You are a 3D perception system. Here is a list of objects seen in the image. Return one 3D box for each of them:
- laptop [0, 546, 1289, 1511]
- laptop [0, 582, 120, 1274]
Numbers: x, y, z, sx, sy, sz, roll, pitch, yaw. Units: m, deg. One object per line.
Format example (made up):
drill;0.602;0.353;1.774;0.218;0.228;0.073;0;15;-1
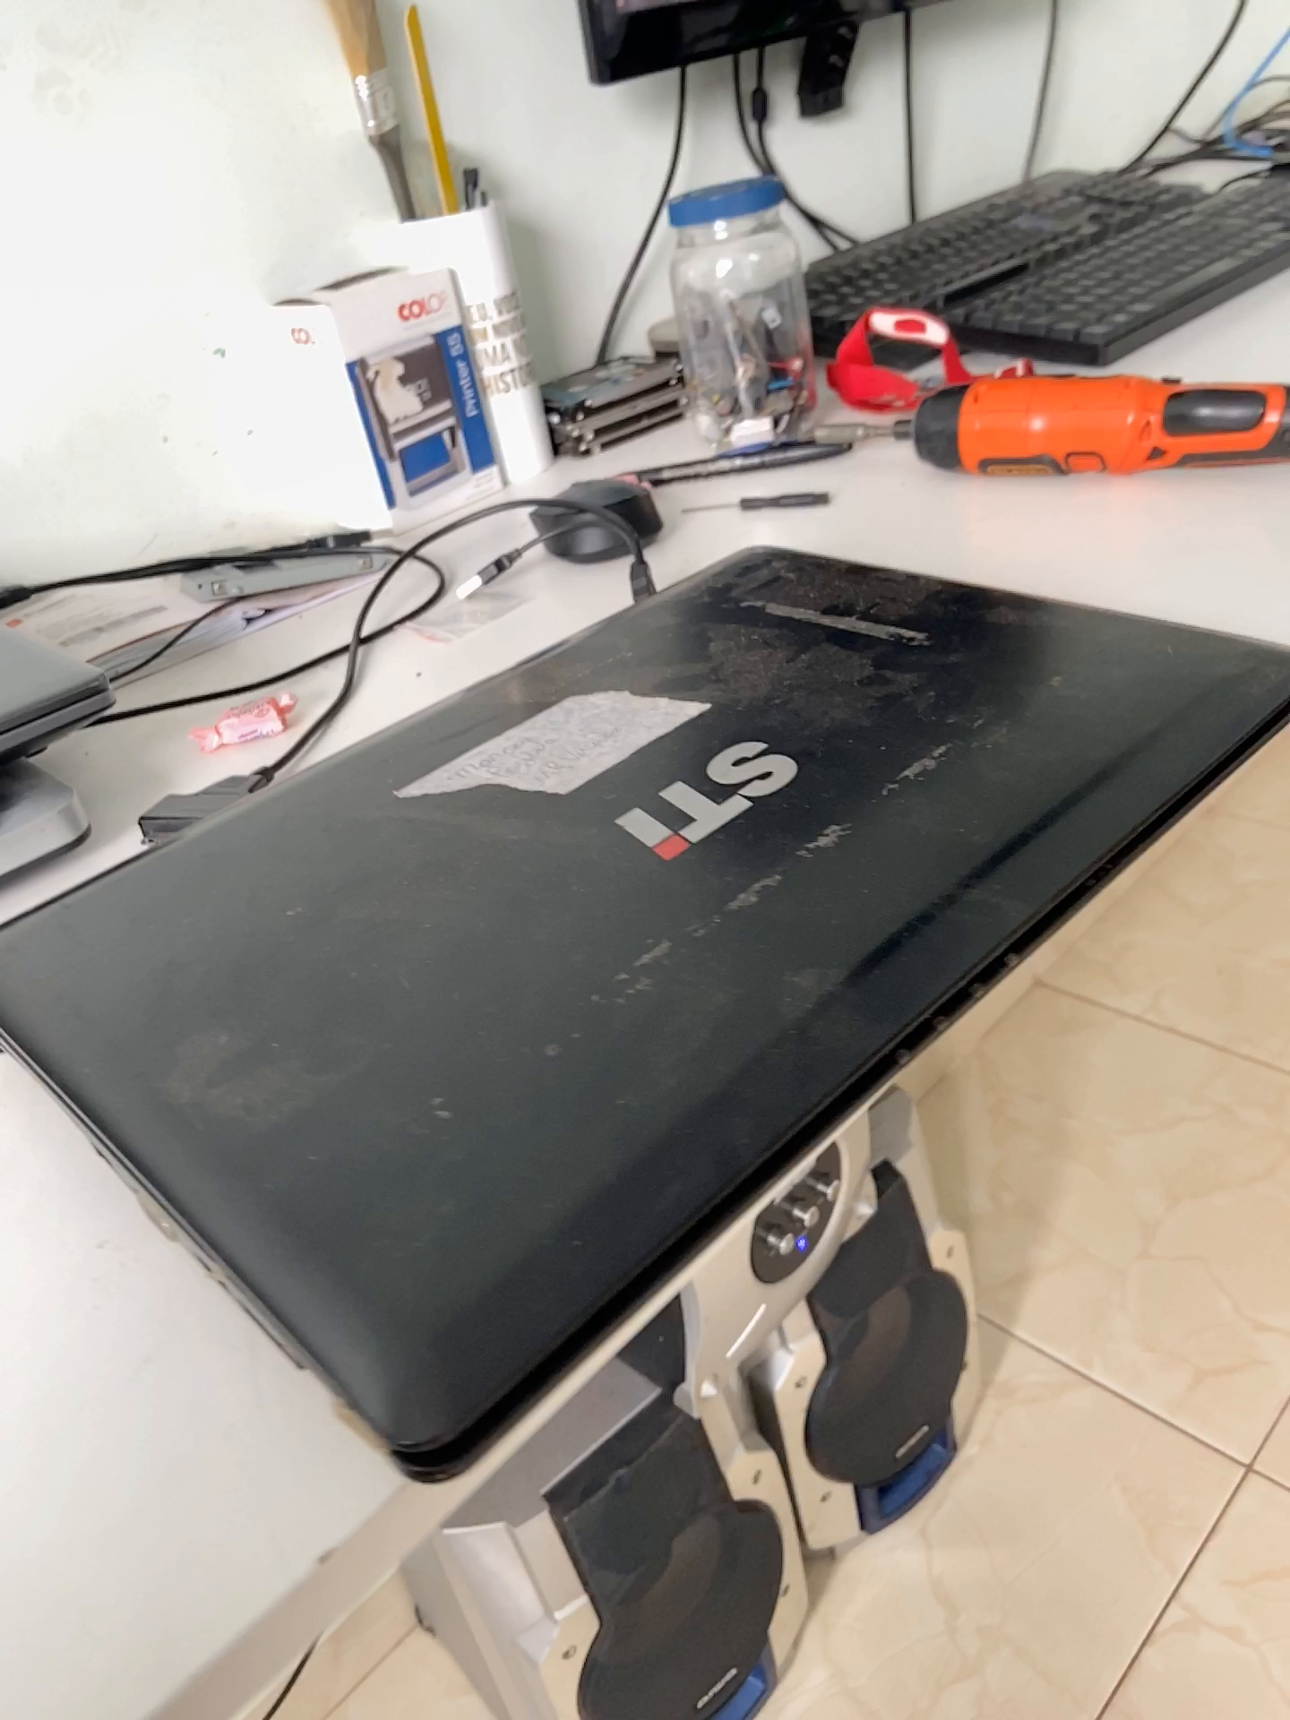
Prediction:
laptop;0.004;-0.010;0.386;0.338;0.011;0.230;-33;40;-32
laptop;-0.389;-0.022;0.452;0.228;0.006;0.344;19;40;39
